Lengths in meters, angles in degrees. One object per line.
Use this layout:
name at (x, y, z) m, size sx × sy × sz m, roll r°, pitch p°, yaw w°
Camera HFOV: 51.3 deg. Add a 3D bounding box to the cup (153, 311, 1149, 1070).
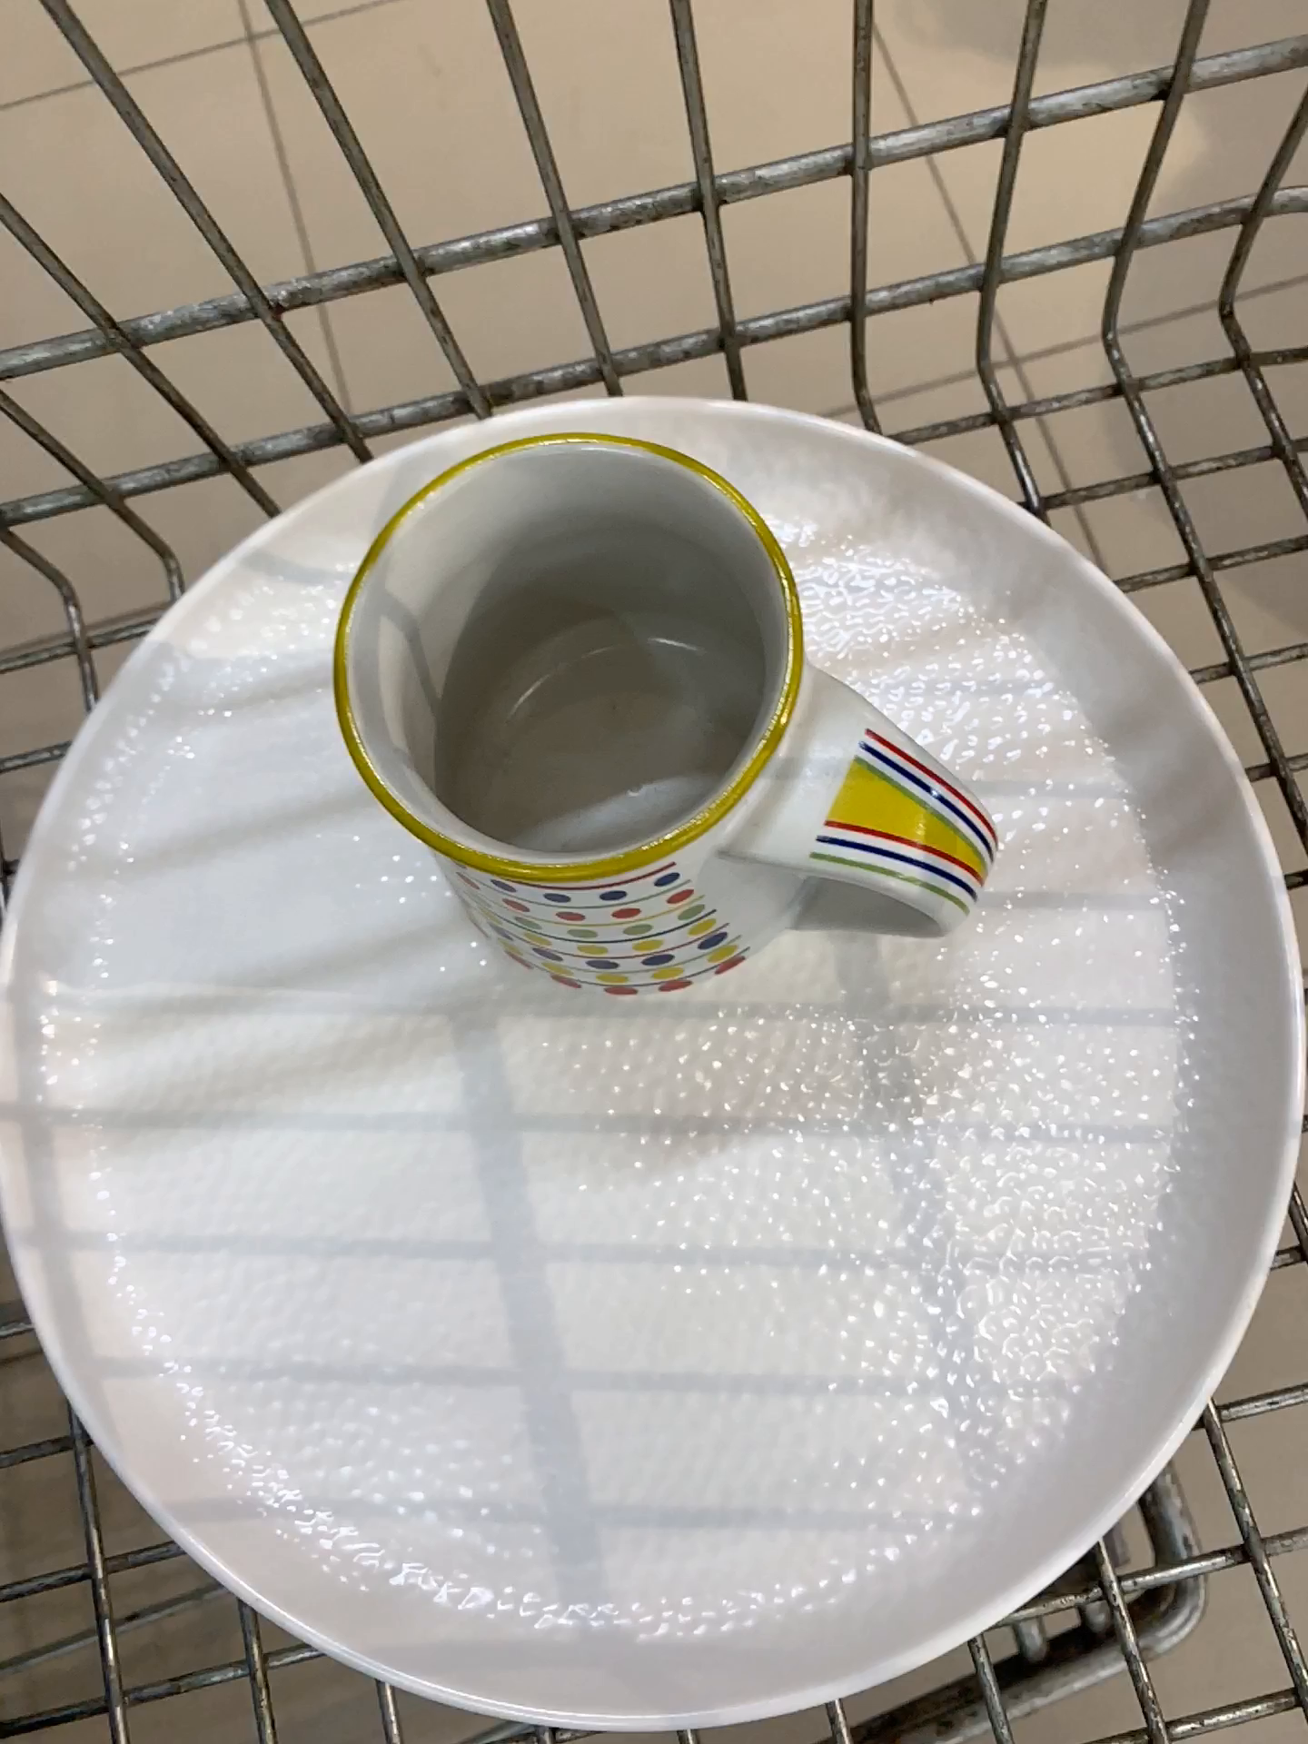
cup at (0.004, -0.021, 0.226) m, size 0.120 × 0.100 × 0.080 m, roll 7°, pitch 76°, yaw 6°
